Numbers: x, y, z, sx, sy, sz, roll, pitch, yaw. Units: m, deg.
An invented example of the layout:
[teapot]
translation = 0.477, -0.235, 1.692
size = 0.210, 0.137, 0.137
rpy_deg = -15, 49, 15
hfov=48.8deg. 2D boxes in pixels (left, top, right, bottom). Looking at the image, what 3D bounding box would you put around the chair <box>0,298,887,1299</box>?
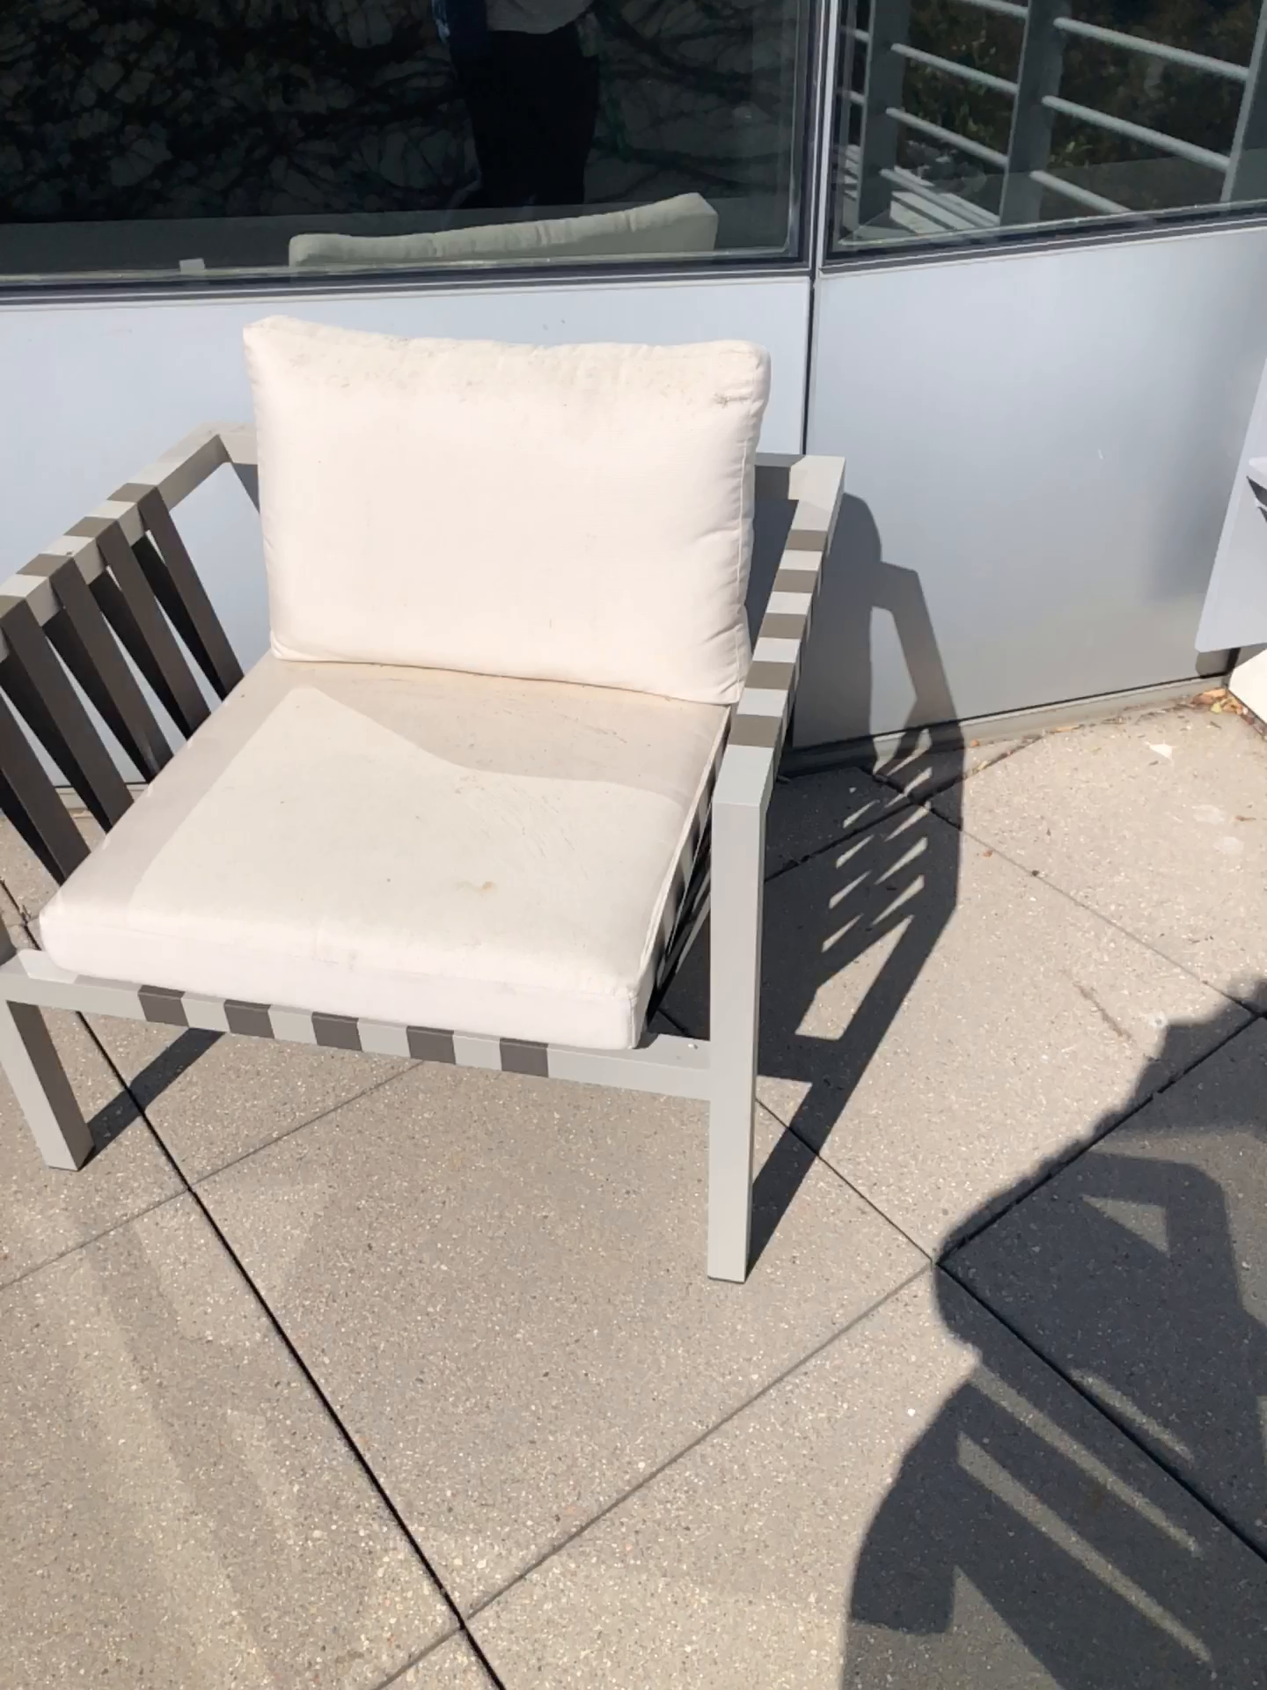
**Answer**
[chair]
translation = -0.209, -0.111, 1.589
size = 0.871, 0.736, 0.784
rpy_deg = 6, 38, 11
